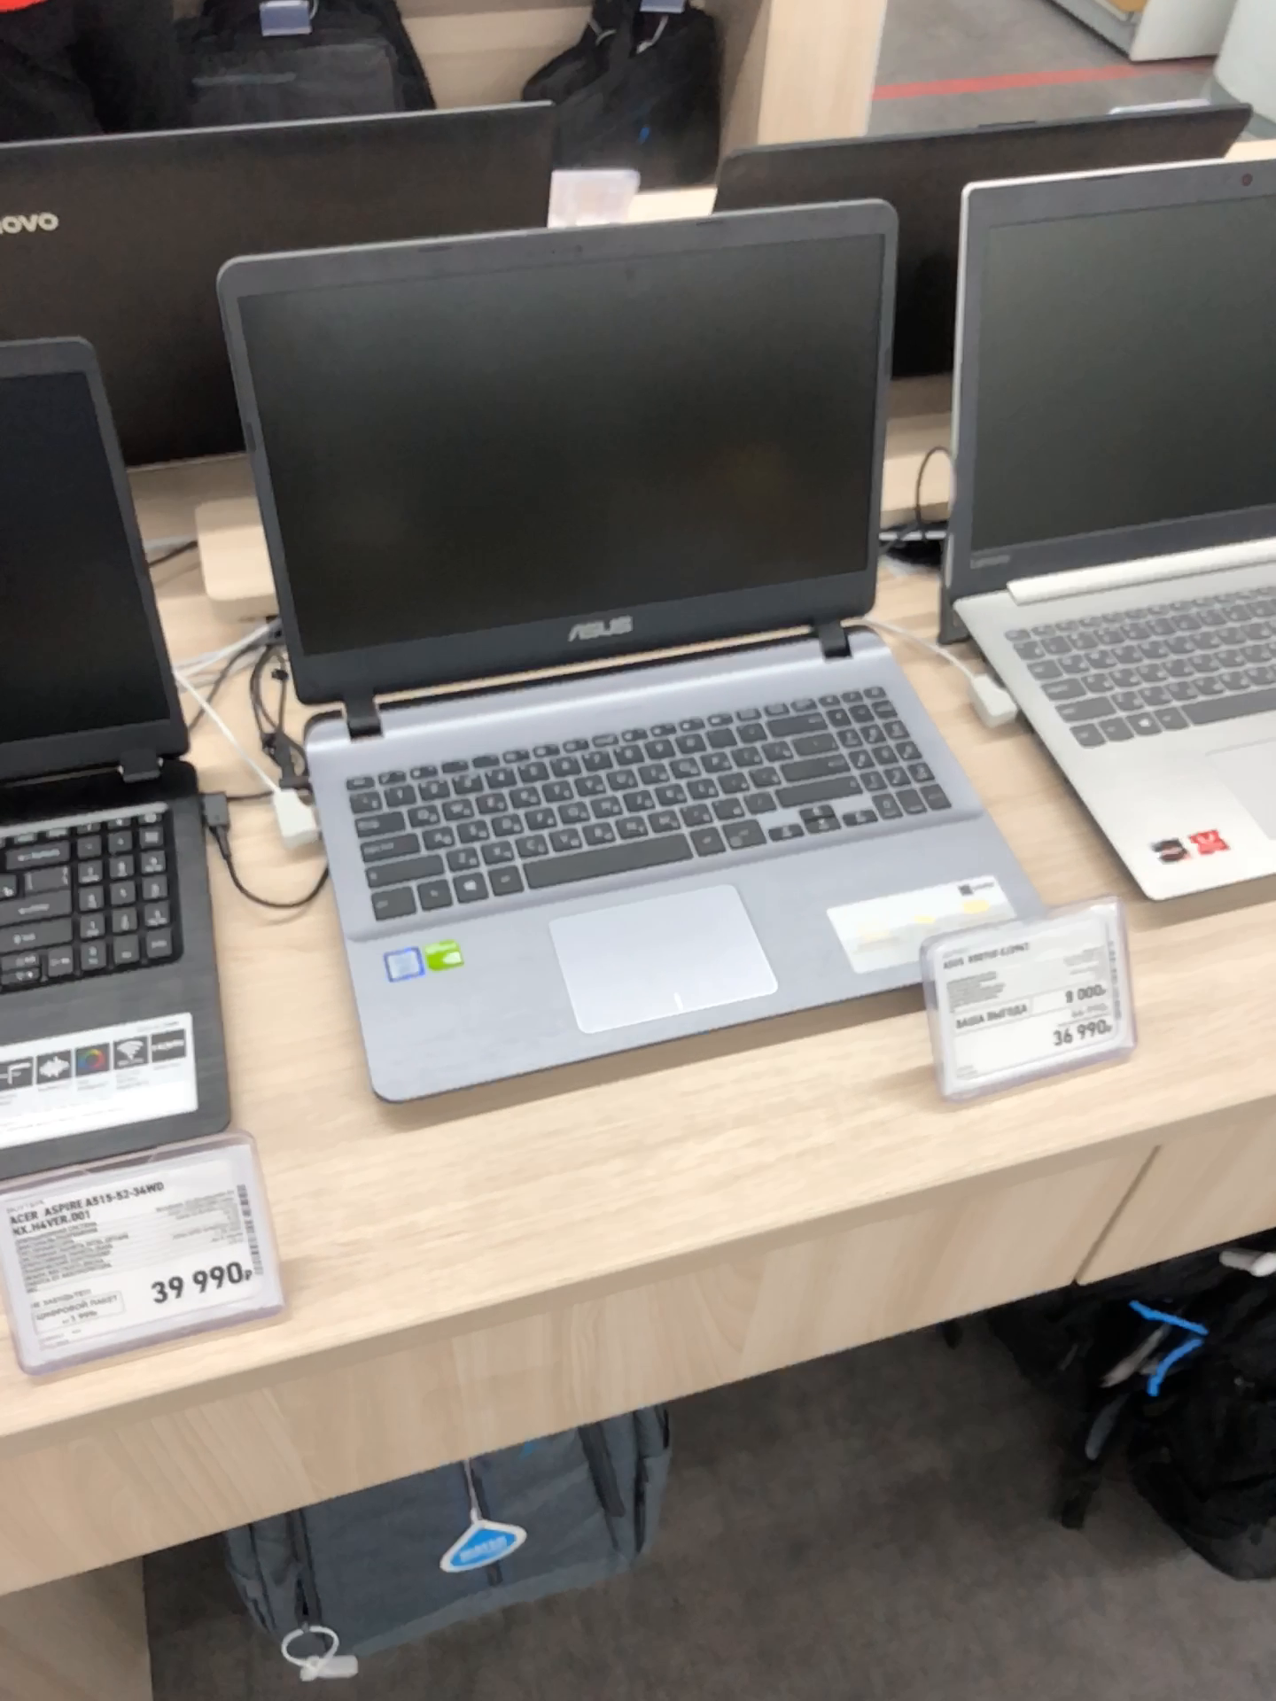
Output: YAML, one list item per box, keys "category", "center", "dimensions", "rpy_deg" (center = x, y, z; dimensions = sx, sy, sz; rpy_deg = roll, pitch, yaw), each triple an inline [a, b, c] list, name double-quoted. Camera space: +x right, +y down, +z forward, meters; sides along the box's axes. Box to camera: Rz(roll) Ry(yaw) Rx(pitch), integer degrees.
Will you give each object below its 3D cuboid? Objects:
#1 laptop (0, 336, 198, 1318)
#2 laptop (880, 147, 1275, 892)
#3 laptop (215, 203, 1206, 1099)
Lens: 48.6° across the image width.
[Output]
- category: "laptop"
  center: [-0.386, -0.026, 0.603]
  dimensions: [0.332, 0.222, 0.292]
  rpy_deg: [-10, 51, -13]
- category: "laptop"
  center: [0.406, -0.204, 0.808]
  dimensions: [0.370, 0.220, 0.333]
  rpy_deg: [-12, 53, -15]
- category: "laptop"
  center: [0.006, -0.116, 0.700]
  dimensions: [0.345, 0.226, 0.330]
  rpy_deg: [-11, 52, -13]
